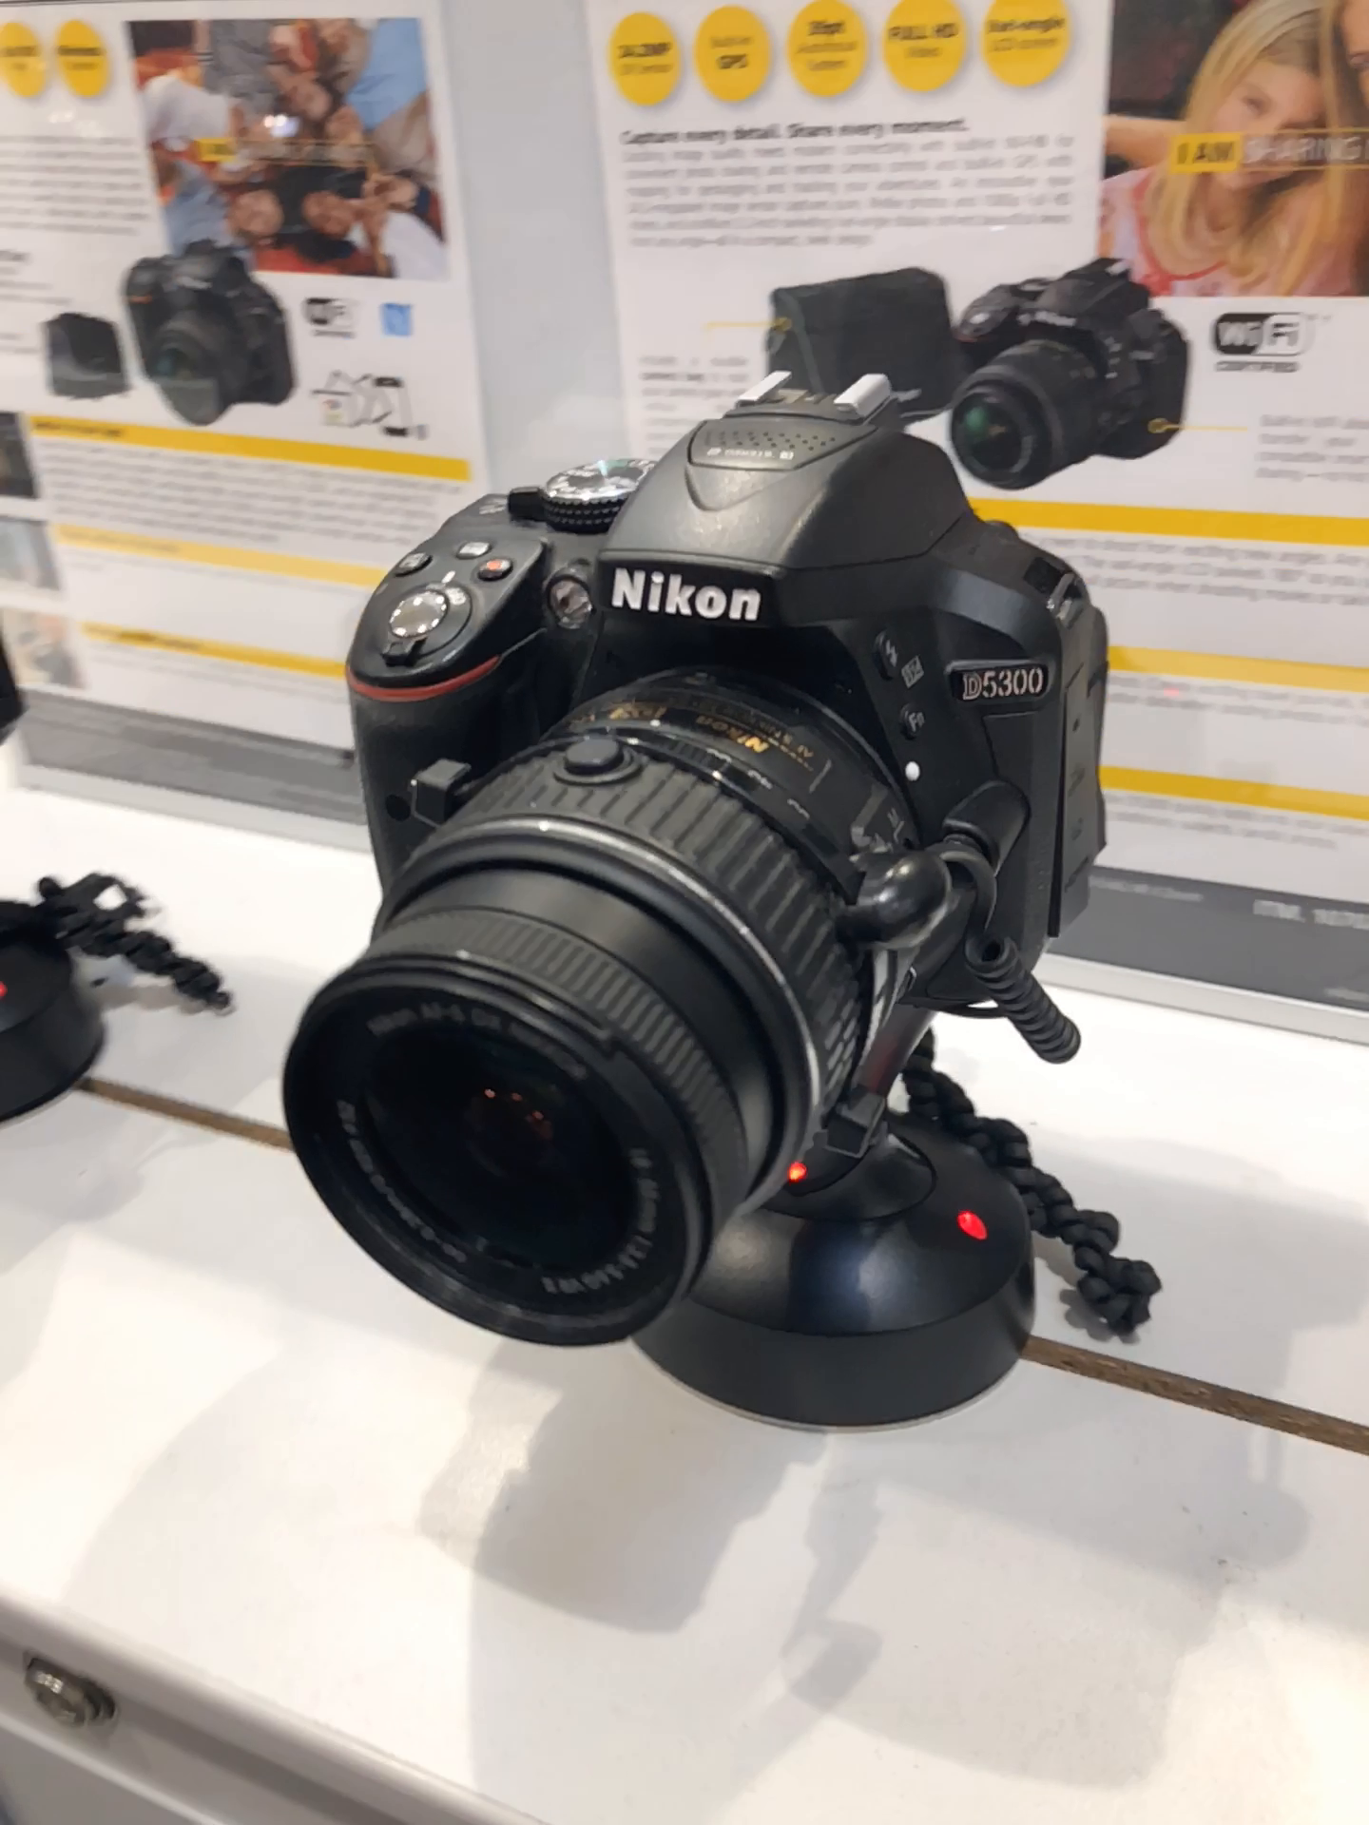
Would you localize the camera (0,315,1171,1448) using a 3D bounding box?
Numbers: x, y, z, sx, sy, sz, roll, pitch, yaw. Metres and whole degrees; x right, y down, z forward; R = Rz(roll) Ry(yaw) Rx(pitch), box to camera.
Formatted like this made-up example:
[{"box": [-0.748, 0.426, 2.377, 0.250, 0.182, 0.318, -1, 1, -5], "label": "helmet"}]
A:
[{"box": [-0.008, -0.026, 0.229, 0.130, 0.089, 0.151, 10, 34, 20], "label": "camera"}]
